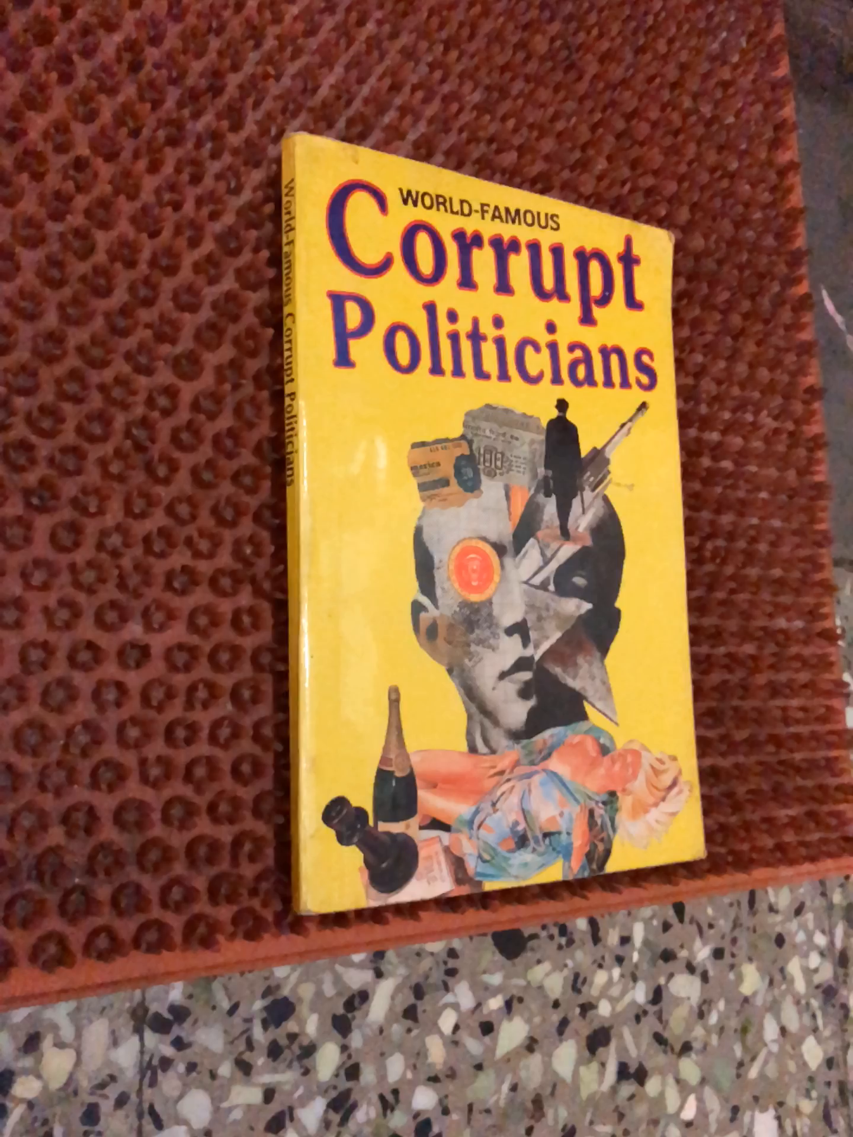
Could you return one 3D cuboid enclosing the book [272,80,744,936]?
[{"bbox_3d":[0.028,-0.019,0.295,0.151,0.020,0.230,3,80,-29],"label":"book"}]
